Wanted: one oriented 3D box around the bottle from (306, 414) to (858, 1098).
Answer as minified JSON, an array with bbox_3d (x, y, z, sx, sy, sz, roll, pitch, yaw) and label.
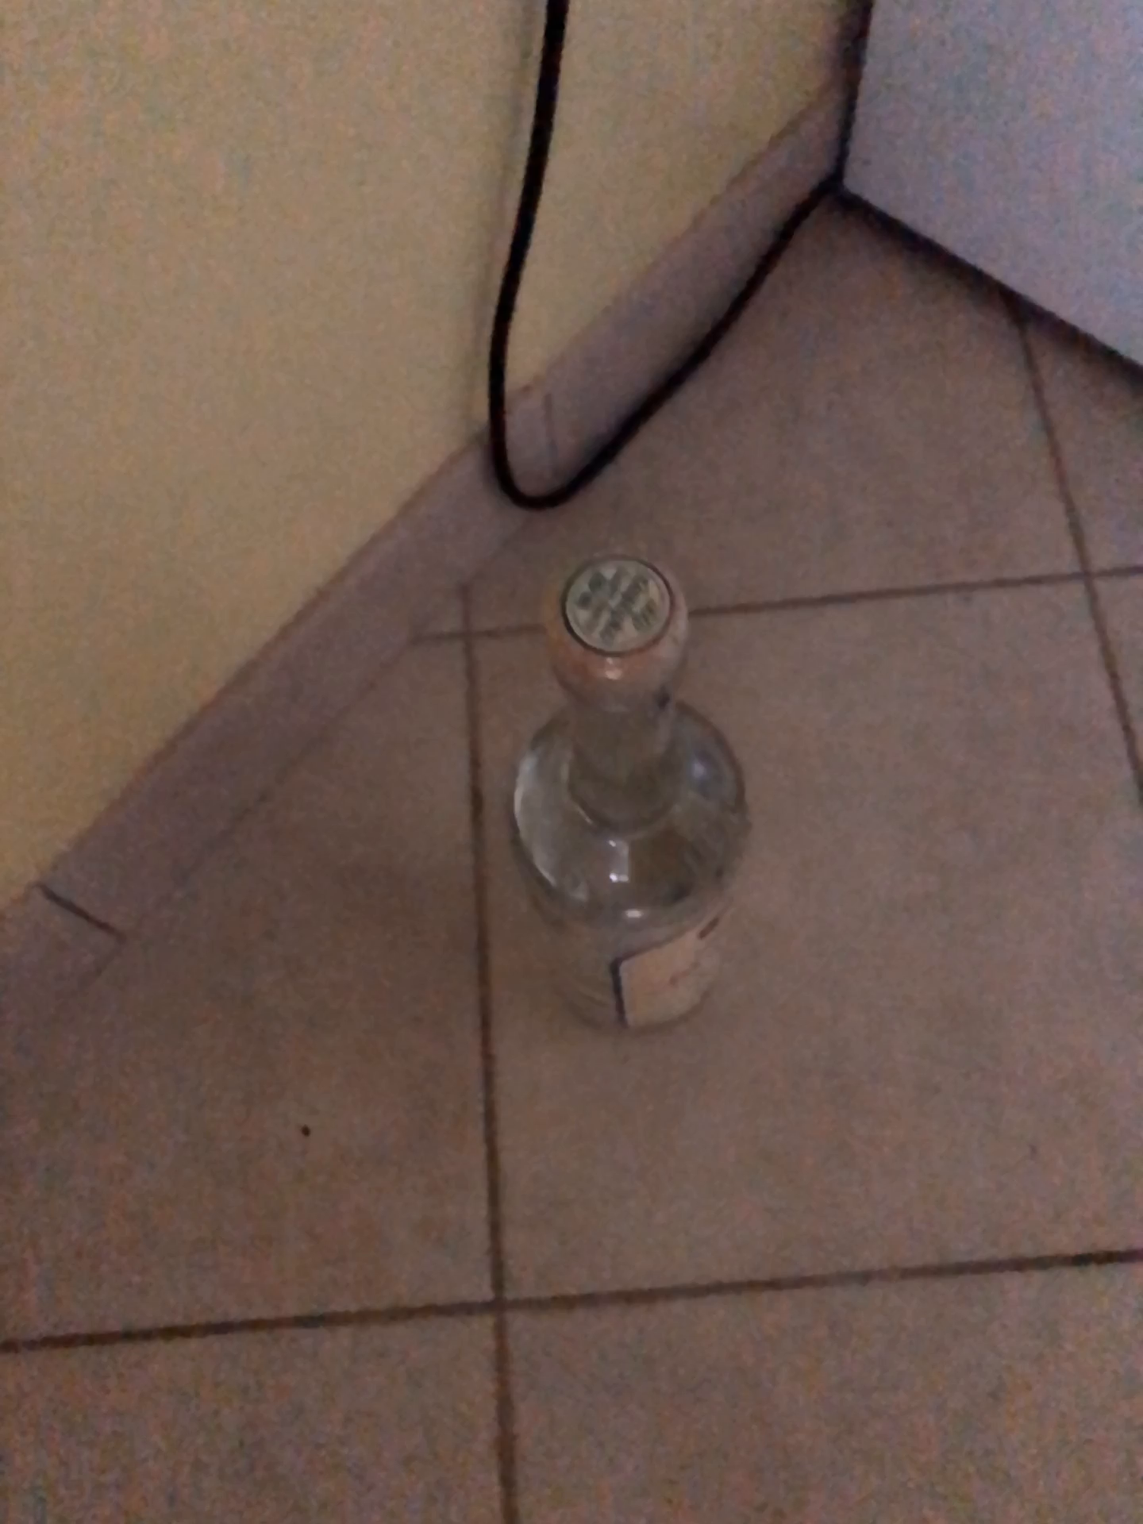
[{"bbox_3d":[0.011,0.033,0.406,0.080,0.319,0.080,-1,69,3],"label":"bottle"}]
